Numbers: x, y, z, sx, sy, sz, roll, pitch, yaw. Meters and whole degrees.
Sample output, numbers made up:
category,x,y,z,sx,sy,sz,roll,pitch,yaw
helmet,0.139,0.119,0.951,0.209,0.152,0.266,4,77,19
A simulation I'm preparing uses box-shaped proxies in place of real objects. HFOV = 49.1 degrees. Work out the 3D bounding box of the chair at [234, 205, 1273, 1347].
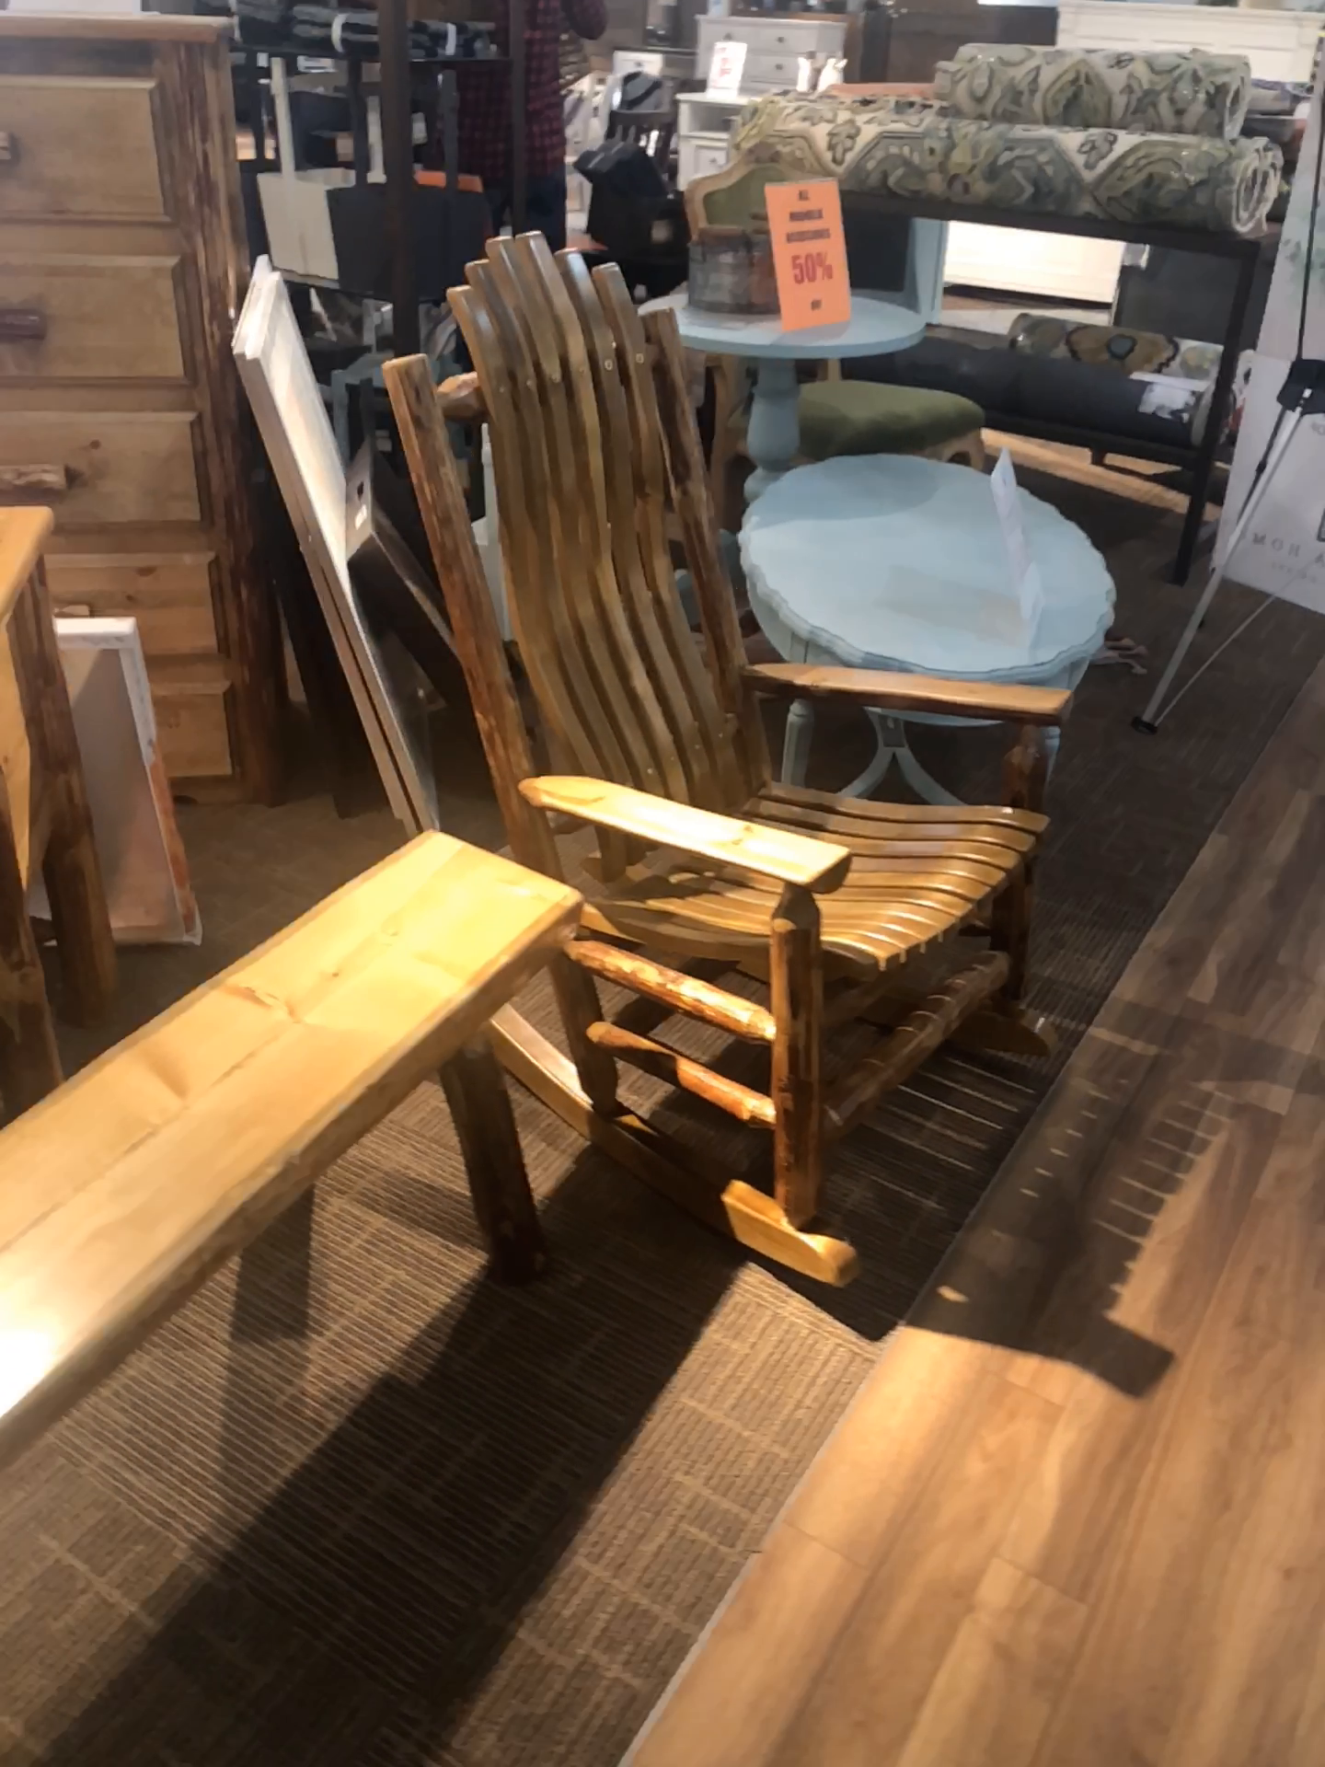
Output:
category,x,y,z,sx,sy,sz,roll,pitch,yaw
chair,0.086,-0.218,1.843,0.886,1.048,0.720,23,35,29
